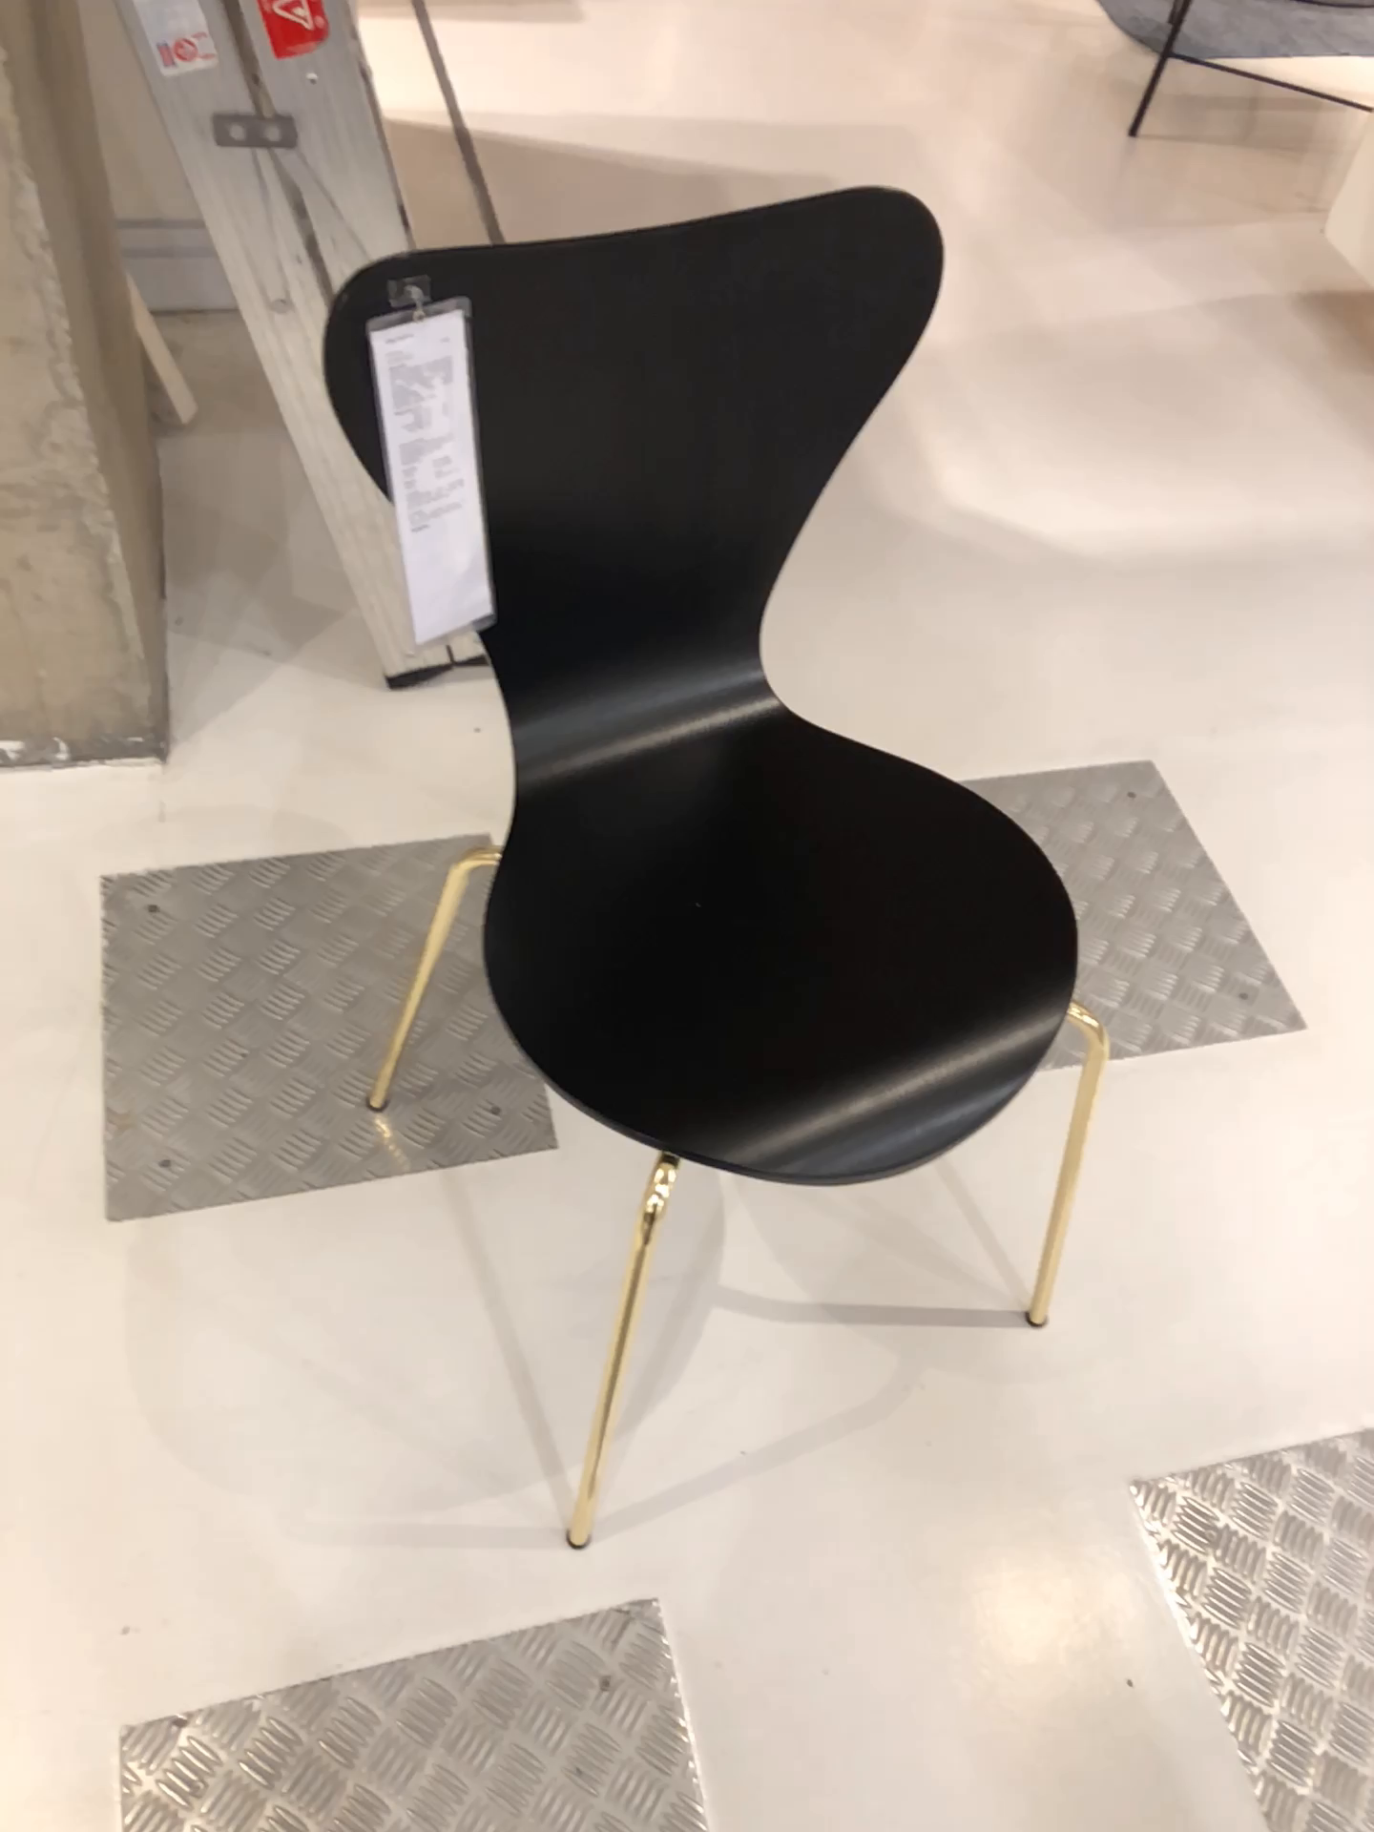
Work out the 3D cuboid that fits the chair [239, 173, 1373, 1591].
[{"bbox_3d":[0.052,0.008,1.091,0.511,0.775,0.542,-17,56,-20],"label":"chair"}]
